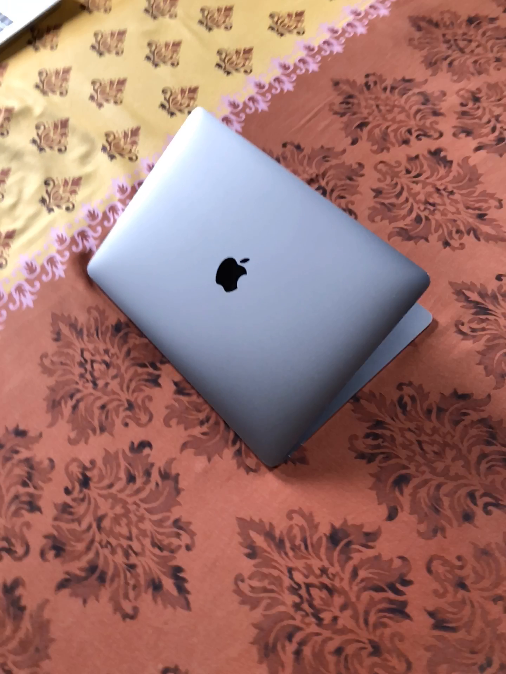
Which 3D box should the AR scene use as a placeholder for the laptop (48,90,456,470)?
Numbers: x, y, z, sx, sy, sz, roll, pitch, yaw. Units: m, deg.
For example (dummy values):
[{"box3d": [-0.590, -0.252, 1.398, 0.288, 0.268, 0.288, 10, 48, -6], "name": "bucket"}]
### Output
[{"box3d": [-0.009, -0.064, 0.507, 0.204, 0.093, 0.286, -41, 66, -11], "name": "laptop"}]
